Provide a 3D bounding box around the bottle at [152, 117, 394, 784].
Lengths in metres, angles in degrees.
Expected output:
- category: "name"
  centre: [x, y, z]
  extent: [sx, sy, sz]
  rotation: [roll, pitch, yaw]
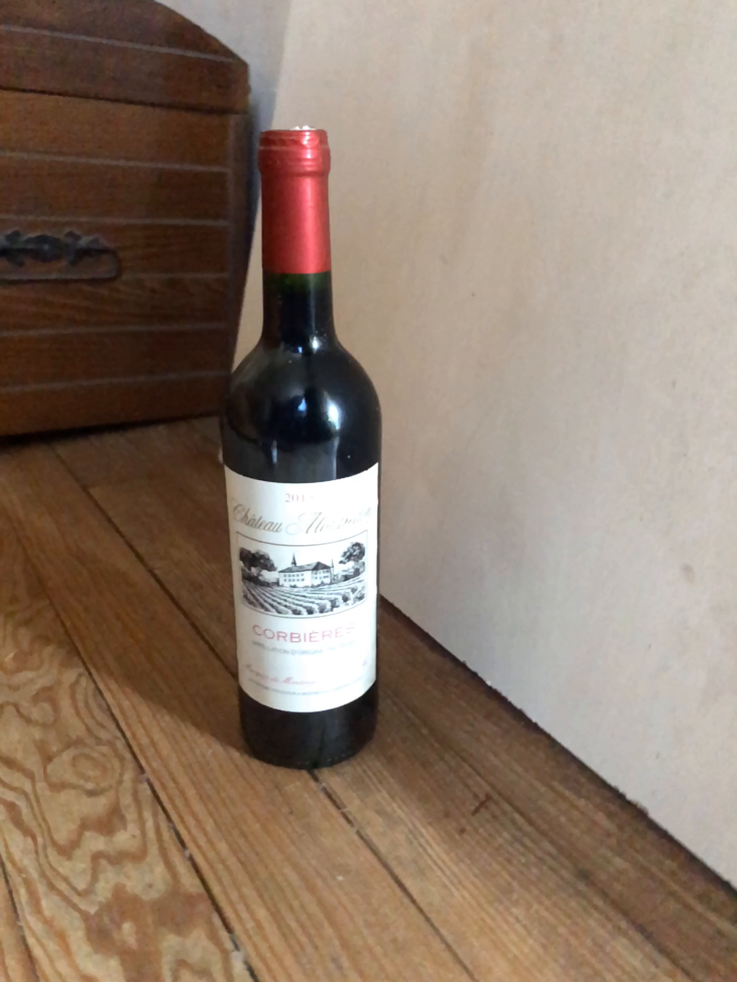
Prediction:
- category: "bottle"
  centre: [-0.033, -0.007, 0.362]
  extent: [0.080, 0.288, 0.070]
  rotation: [-1, 25, -2]
